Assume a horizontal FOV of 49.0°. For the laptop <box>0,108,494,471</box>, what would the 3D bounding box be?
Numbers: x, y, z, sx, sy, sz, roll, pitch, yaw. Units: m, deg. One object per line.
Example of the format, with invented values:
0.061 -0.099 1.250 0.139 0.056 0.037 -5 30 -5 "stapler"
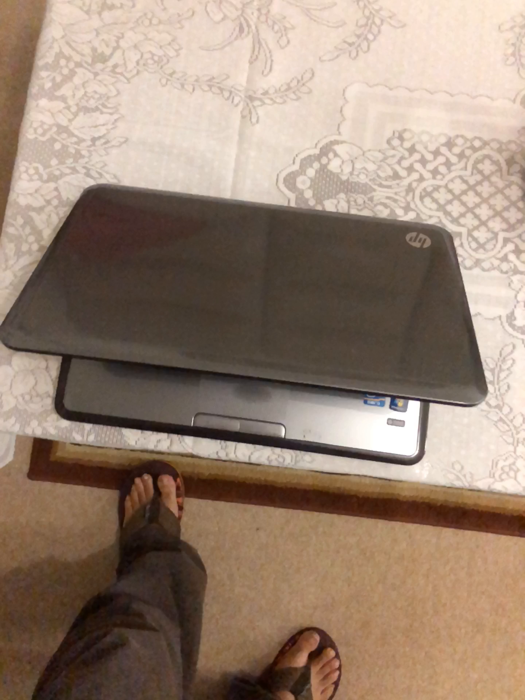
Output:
-0.012 -0.041 0.506 0.360 0.139 0.237 7 82 1 "laptop"
